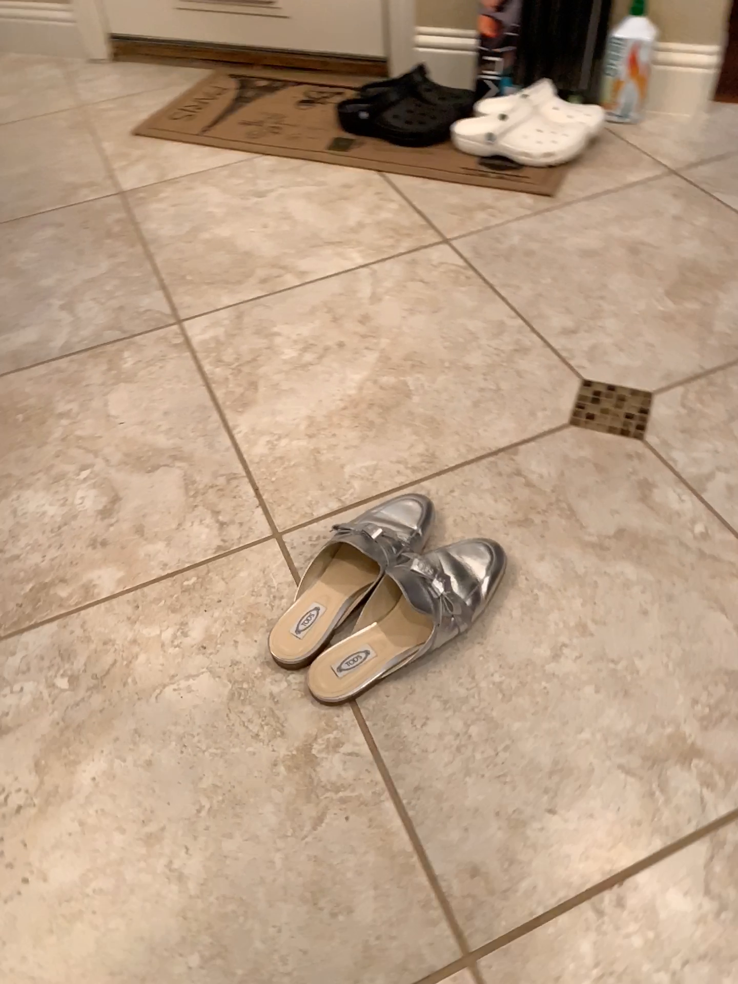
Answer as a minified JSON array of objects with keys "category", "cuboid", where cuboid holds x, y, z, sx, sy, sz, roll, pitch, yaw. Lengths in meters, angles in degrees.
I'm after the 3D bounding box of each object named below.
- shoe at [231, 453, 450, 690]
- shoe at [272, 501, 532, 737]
[{"category":"shoe","cuboid":[-0.023,0.083,0.880,0.092,0.077,0.280,28,56,26]},{"category":"shoe","cuboid":[0.042,0.133,0.837,0.277,0.077,0.102,-32,54,-22]}]
